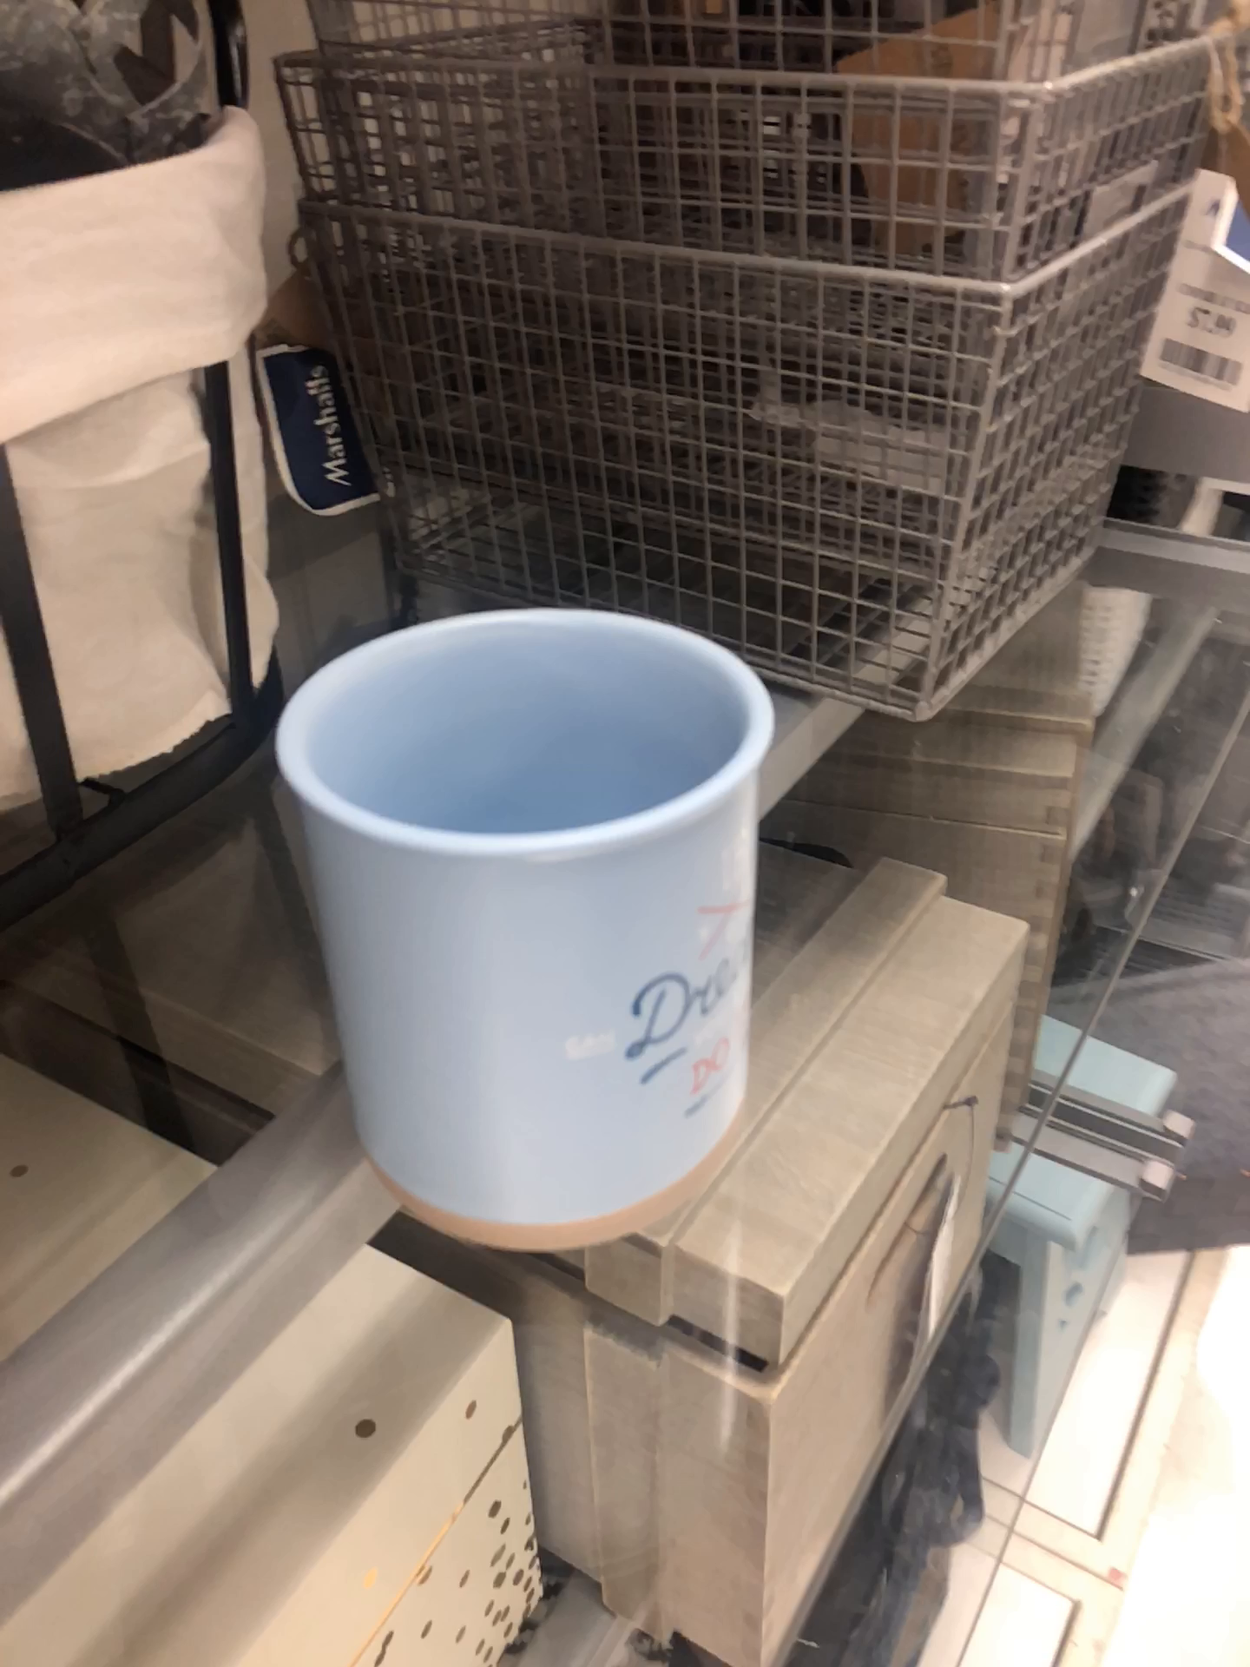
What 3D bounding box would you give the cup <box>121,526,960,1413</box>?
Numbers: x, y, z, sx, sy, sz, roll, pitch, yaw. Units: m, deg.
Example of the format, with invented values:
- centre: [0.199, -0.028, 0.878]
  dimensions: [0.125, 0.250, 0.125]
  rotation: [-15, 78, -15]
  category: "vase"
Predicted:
- centre: [-0.007, 0.015, 0.290]
  dimensions: [0.100, 0.100, 0.139]
  rotation: [17, 38, 26]
  category: "cup"
